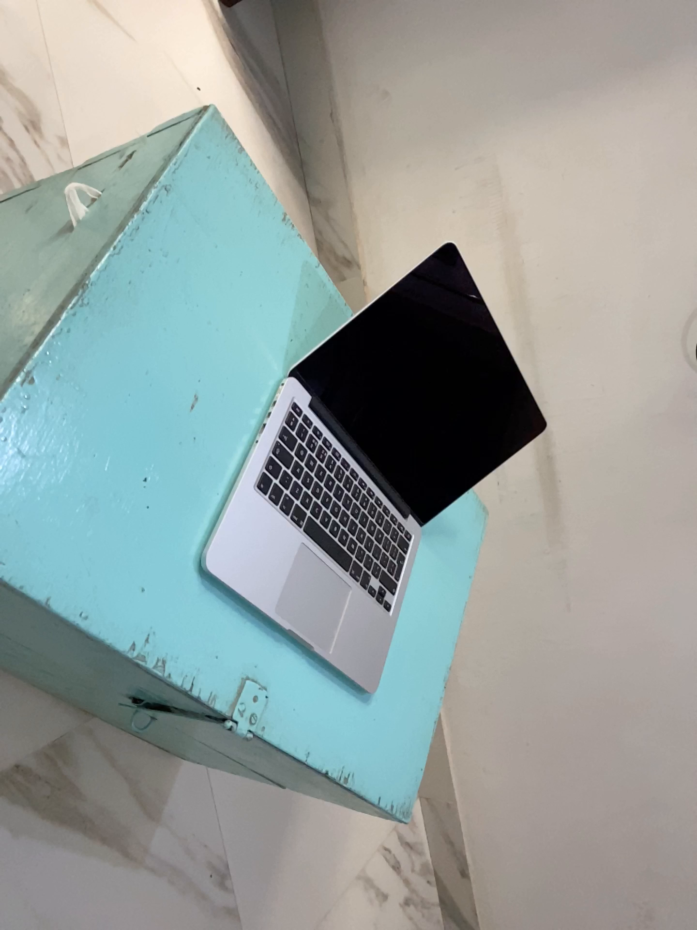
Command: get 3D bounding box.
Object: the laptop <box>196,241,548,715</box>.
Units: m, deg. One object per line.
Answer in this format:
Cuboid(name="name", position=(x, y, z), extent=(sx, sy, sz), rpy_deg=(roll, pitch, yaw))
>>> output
Cuboid(name="laptop", position=(0.064, 0.024, 0.768), extent=(0.314, 0.148, 0.377), rpy_deg=(48, 50, -41))
